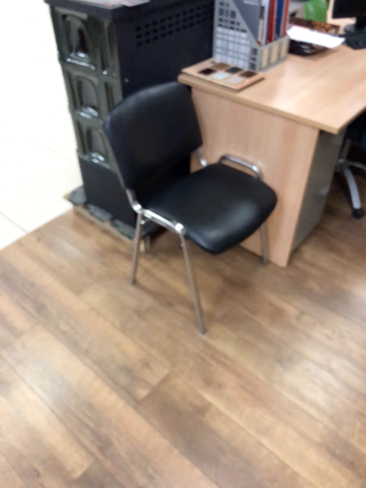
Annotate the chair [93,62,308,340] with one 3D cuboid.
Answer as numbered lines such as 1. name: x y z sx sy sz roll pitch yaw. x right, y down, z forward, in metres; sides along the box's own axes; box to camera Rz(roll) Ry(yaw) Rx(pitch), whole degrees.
1. chair: 0.075 -0.174 1.688 0.481 0.856 0.582 29 50 28
